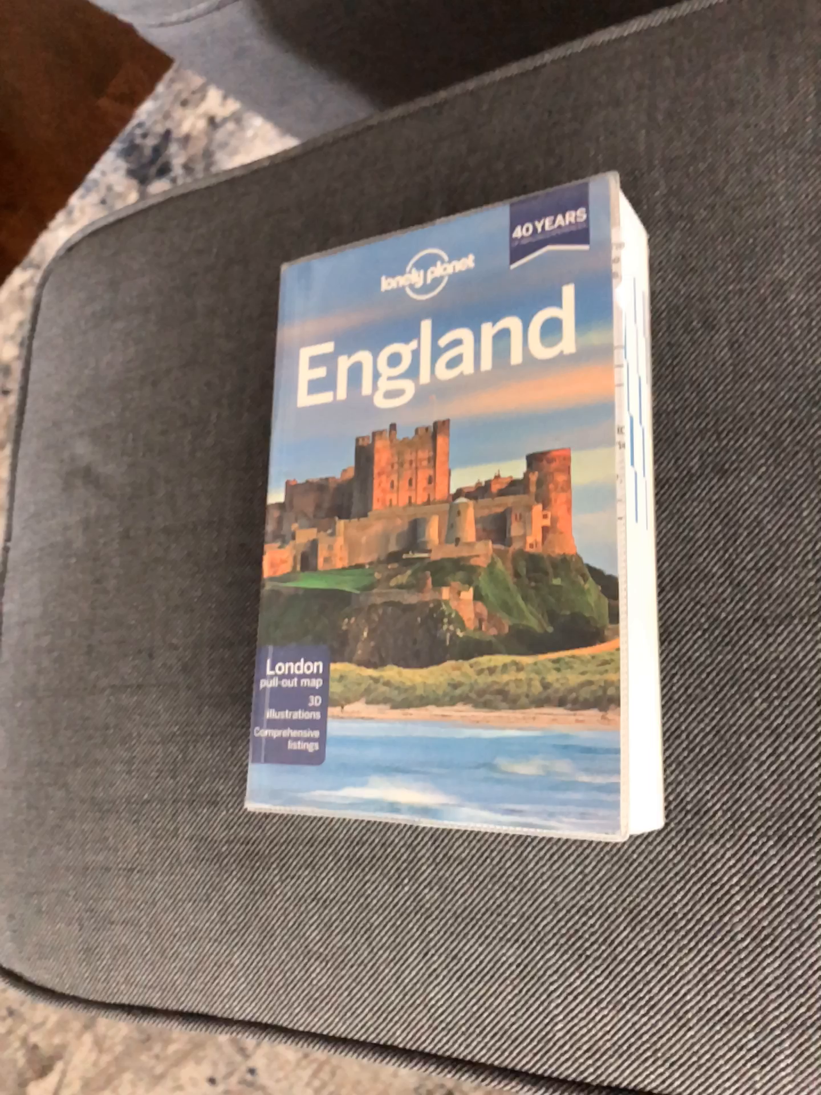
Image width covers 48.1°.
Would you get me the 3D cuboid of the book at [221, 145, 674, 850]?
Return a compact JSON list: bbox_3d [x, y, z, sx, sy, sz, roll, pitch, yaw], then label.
[{"bbox_3d":[0.010,-0.012,0.302,0.136,0.040,0.200,-6,74,31],"label":"book"}]
